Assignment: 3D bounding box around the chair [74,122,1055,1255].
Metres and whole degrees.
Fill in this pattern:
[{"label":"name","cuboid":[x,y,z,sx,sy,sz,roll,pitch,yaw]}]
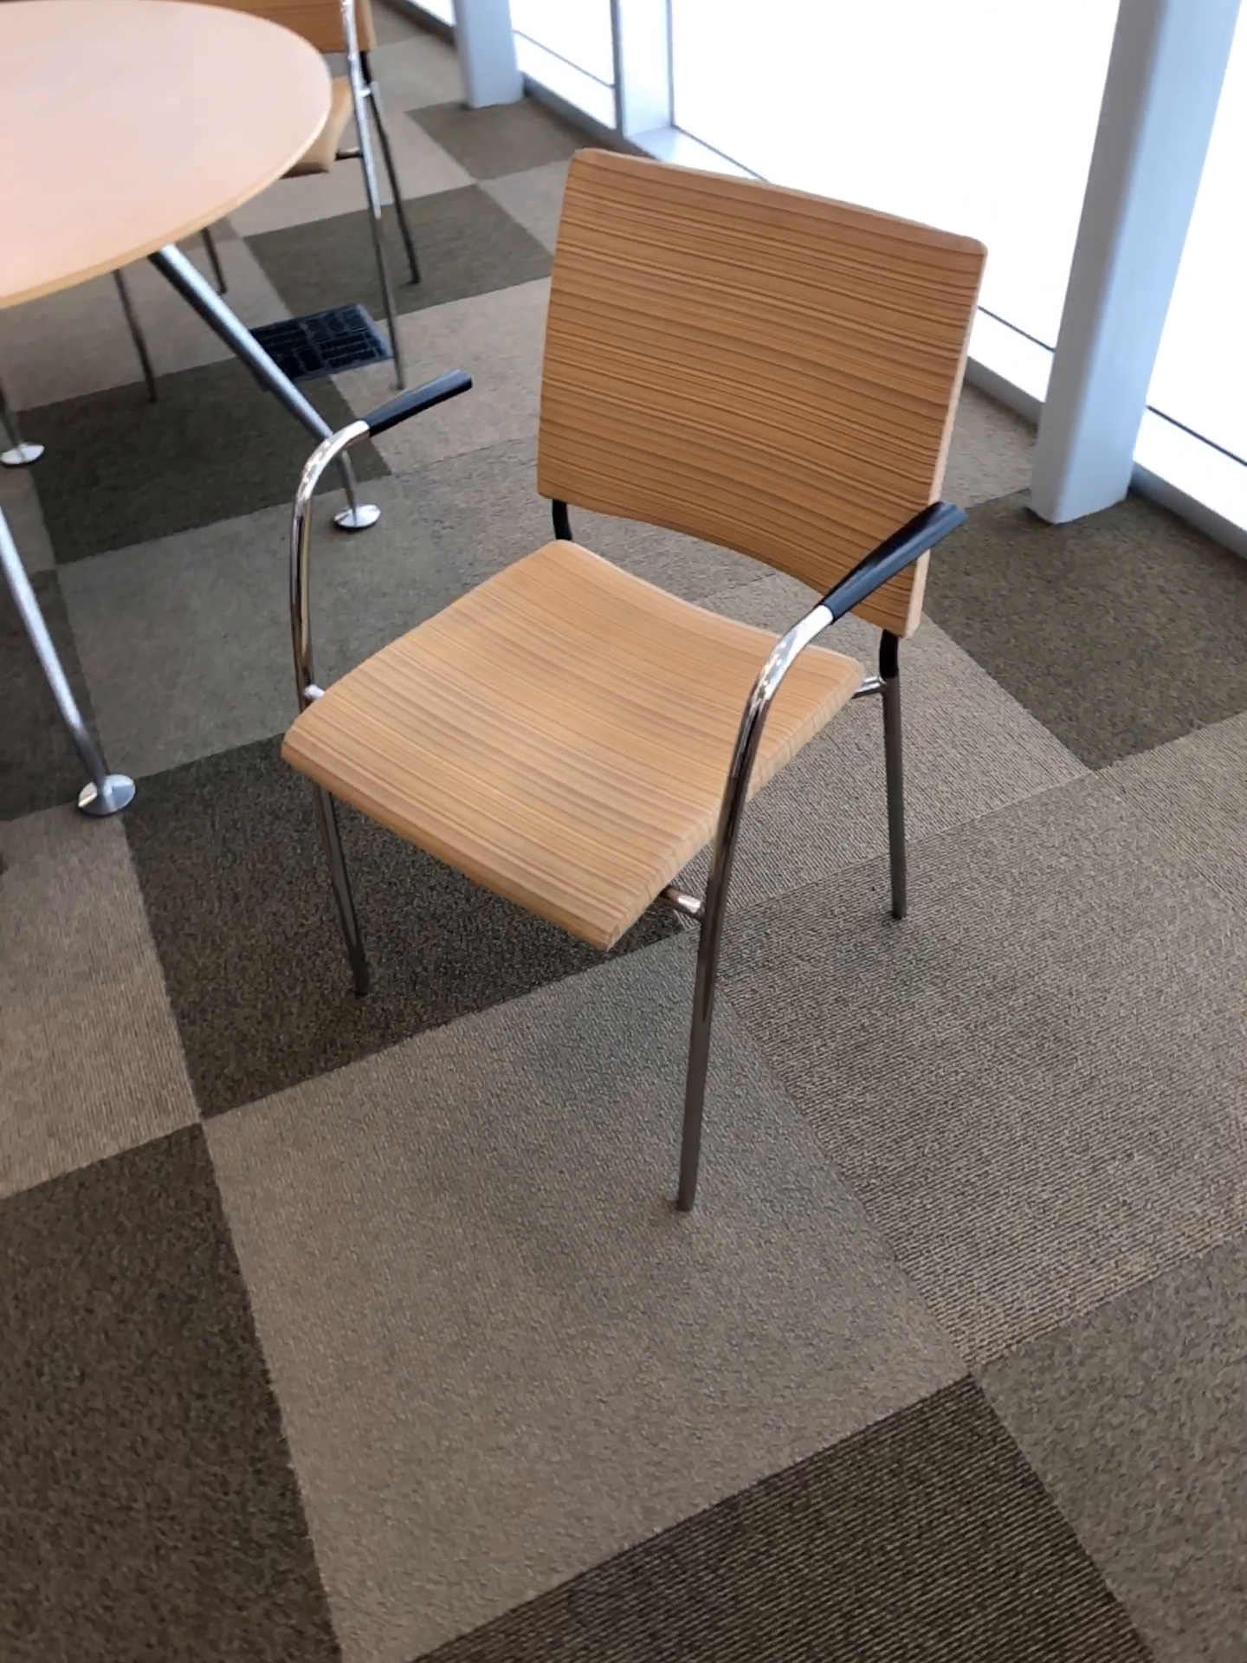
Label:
[{"label":"chair","cuboid":[-0.014,-0.132,1.312,0.516,0.797,0.547,27,53,28]}]
